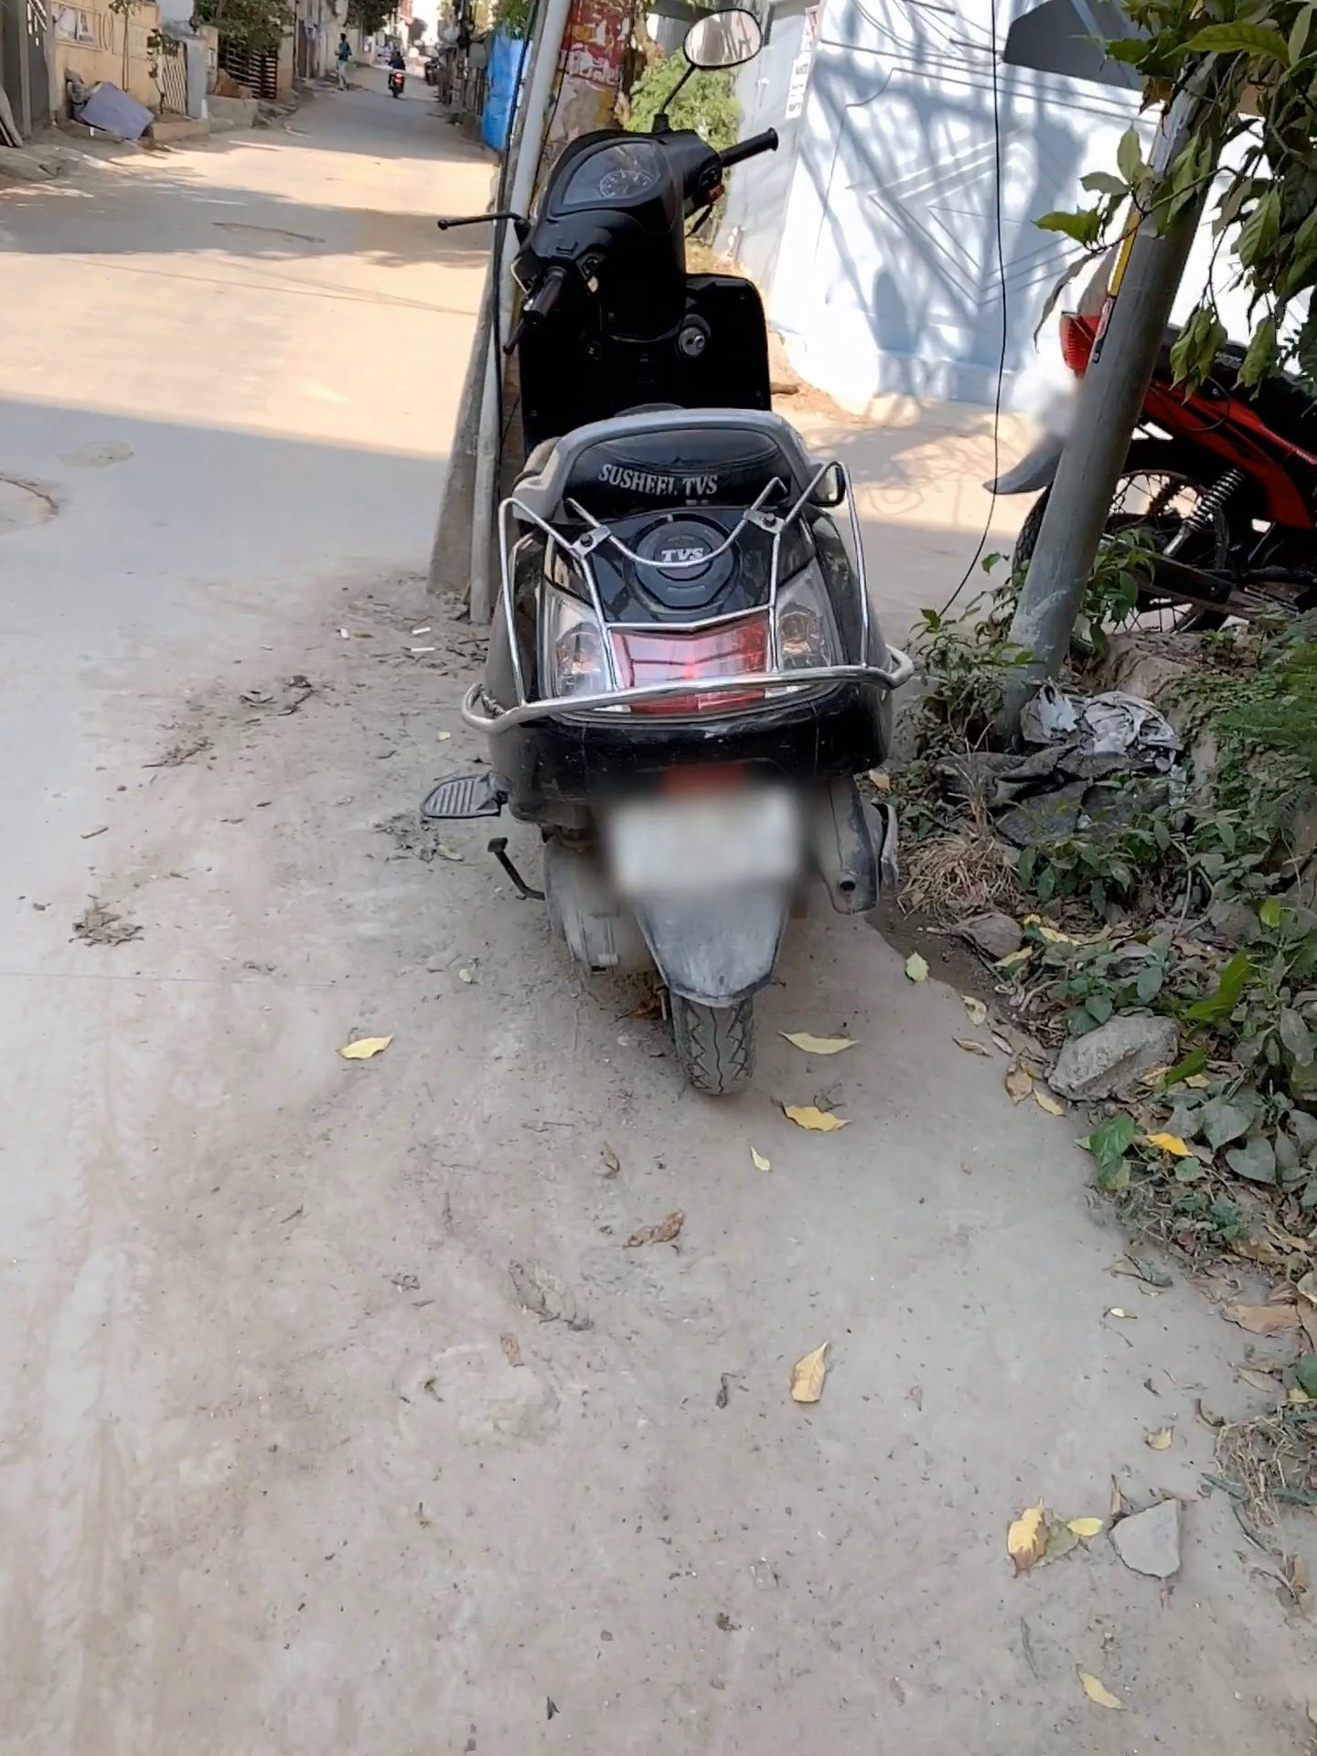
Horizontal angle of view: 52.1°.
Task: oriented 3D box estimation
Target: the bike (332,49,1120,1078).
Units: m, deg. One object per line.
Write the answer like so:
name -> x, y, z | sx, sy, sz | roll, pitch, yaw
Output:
bike -> -0.066, -0.679, 2.088 | 0.618, 0.943, 1.826 | 5, 30, -9
